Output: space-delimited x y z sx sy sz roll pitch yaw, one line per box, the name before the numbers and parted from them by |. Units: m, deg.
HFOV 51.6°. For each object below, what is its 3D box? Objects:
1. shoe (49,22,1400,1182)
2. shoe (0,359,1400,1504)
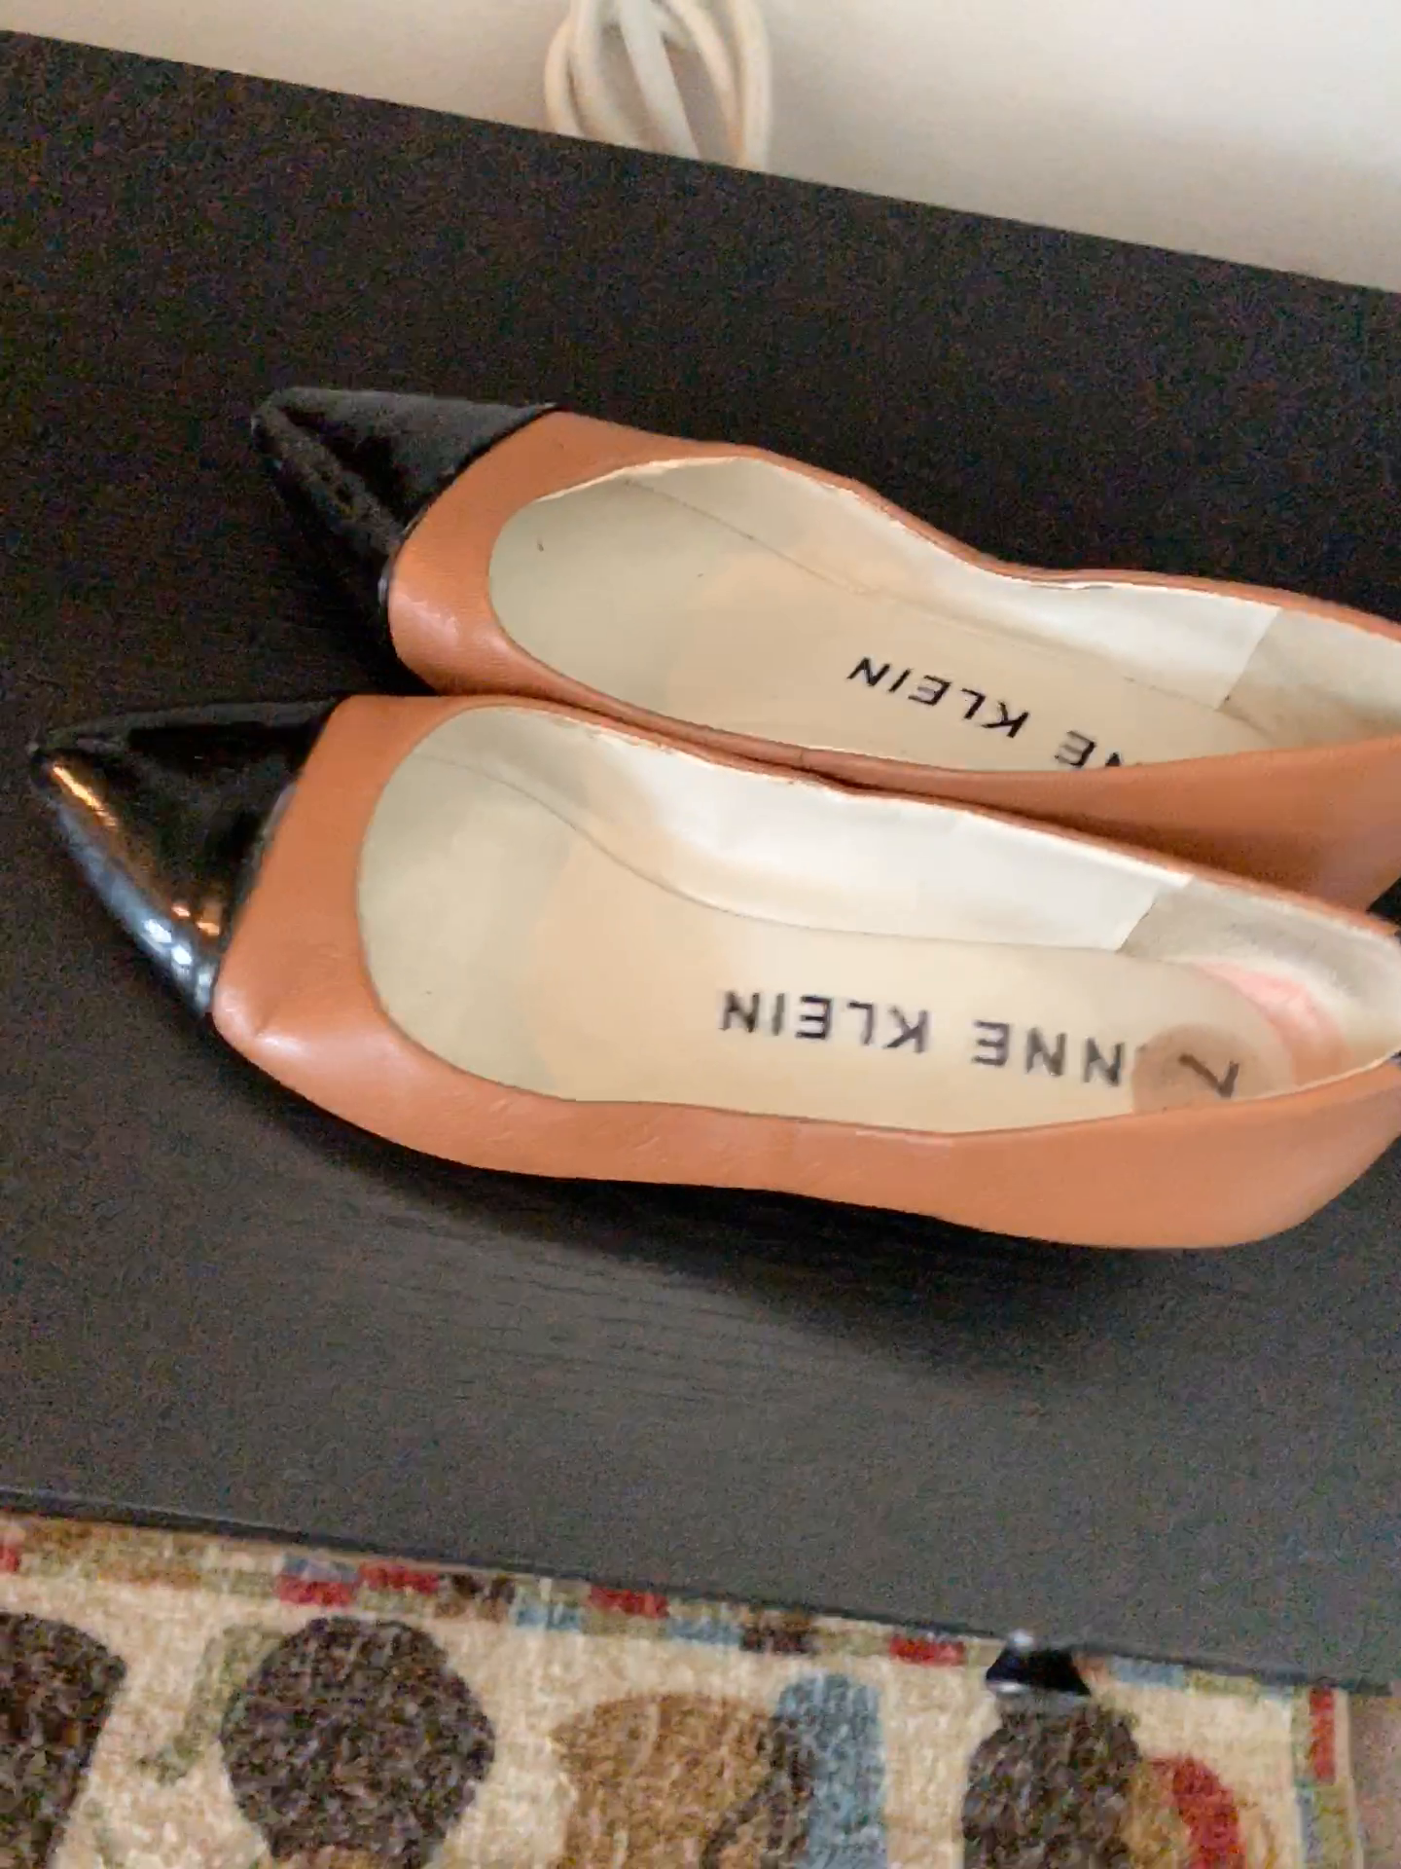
shoe | 0.022 -0.065 0.284 0.260 0.080 0.093 28 64 7
shoe | -0.007 0.007 0.259 0.260 0.099 0.093 19 63 2
